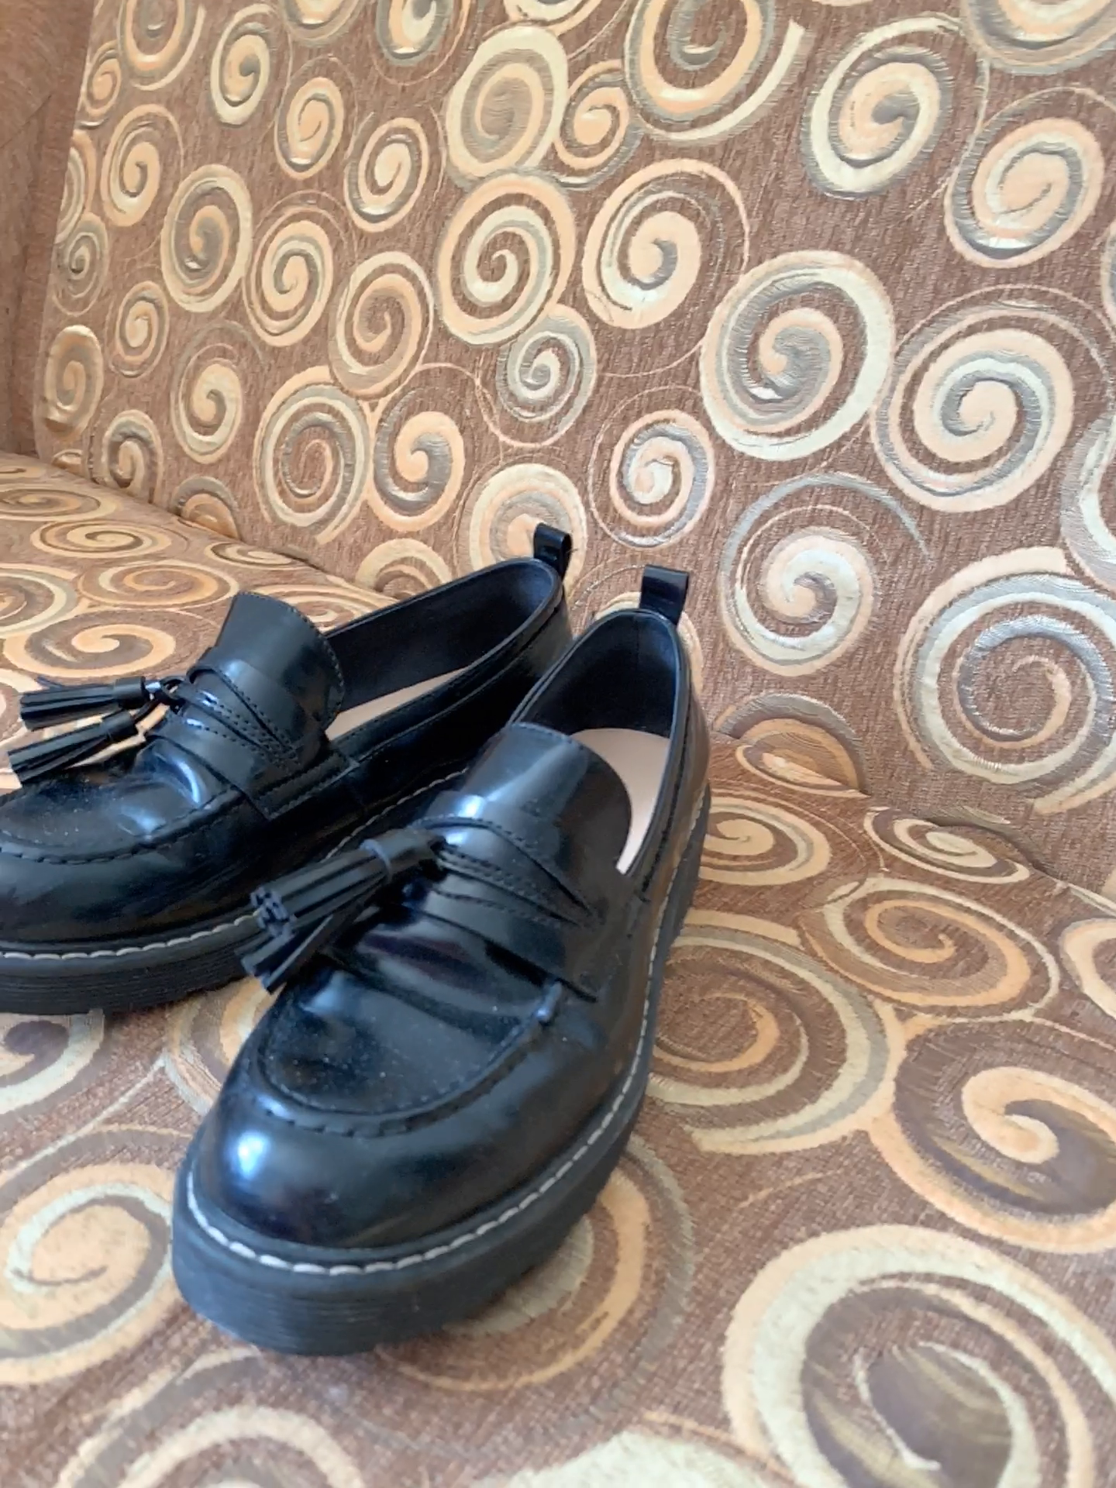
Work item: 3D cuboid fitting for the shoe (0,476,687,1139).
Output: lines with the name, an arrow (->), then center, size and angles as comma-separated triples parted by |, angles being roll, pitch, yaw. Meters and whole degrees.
shoe -> -0.076, -0.002, 0.361 | 0.241, 0.099, 0.090 | -25, 40, -38

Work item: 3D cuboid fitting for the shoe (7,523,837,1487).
shoe -> -0.005, 0.035, 0.297 | 0.090, 0.099, 0.241 | 14, 33, 19
